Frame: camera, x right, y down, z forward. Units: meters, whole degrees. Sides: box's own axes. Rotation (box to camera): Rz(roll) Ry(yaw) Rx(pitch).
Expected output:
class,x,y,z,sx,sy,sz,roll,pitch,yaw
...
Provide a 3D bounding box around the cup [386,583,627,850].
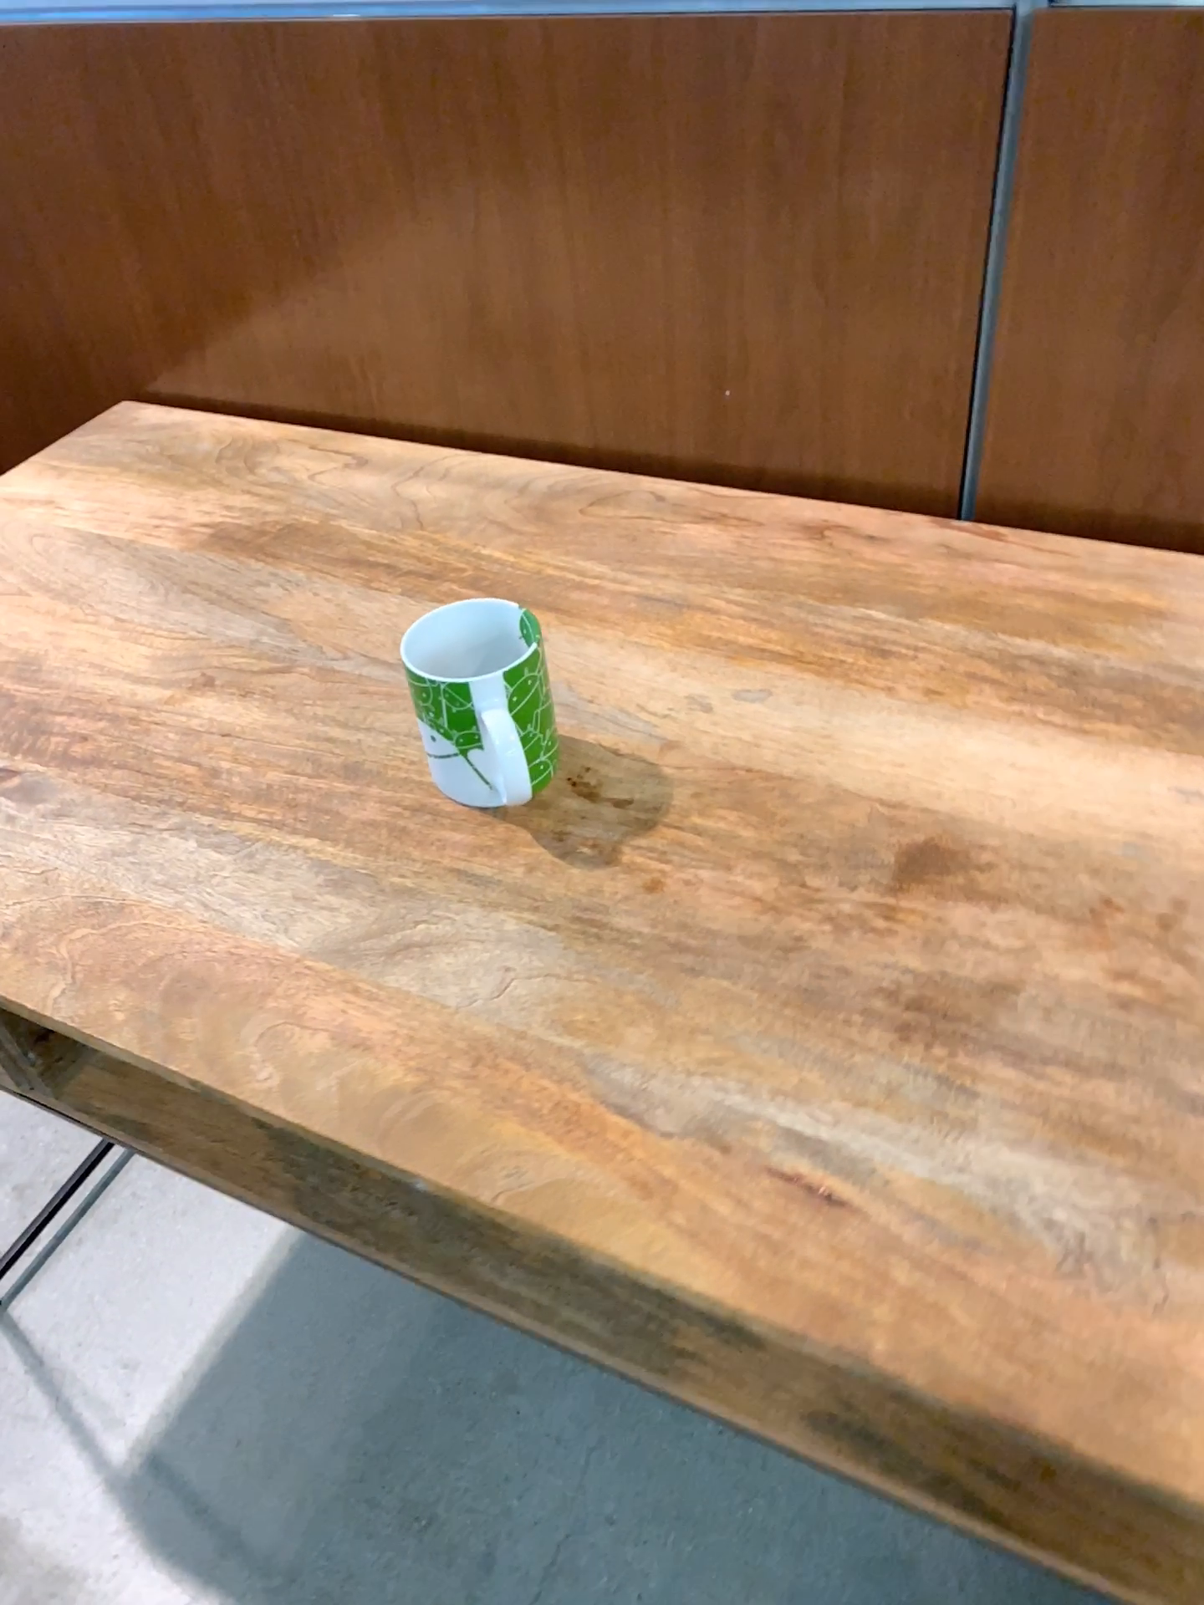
class,x,y,z,sx,sy,sz,roll,pitch,yaw
cup,-0.054,-0.051,0.682,0.100,0.070,0.121,-15,42,-8
